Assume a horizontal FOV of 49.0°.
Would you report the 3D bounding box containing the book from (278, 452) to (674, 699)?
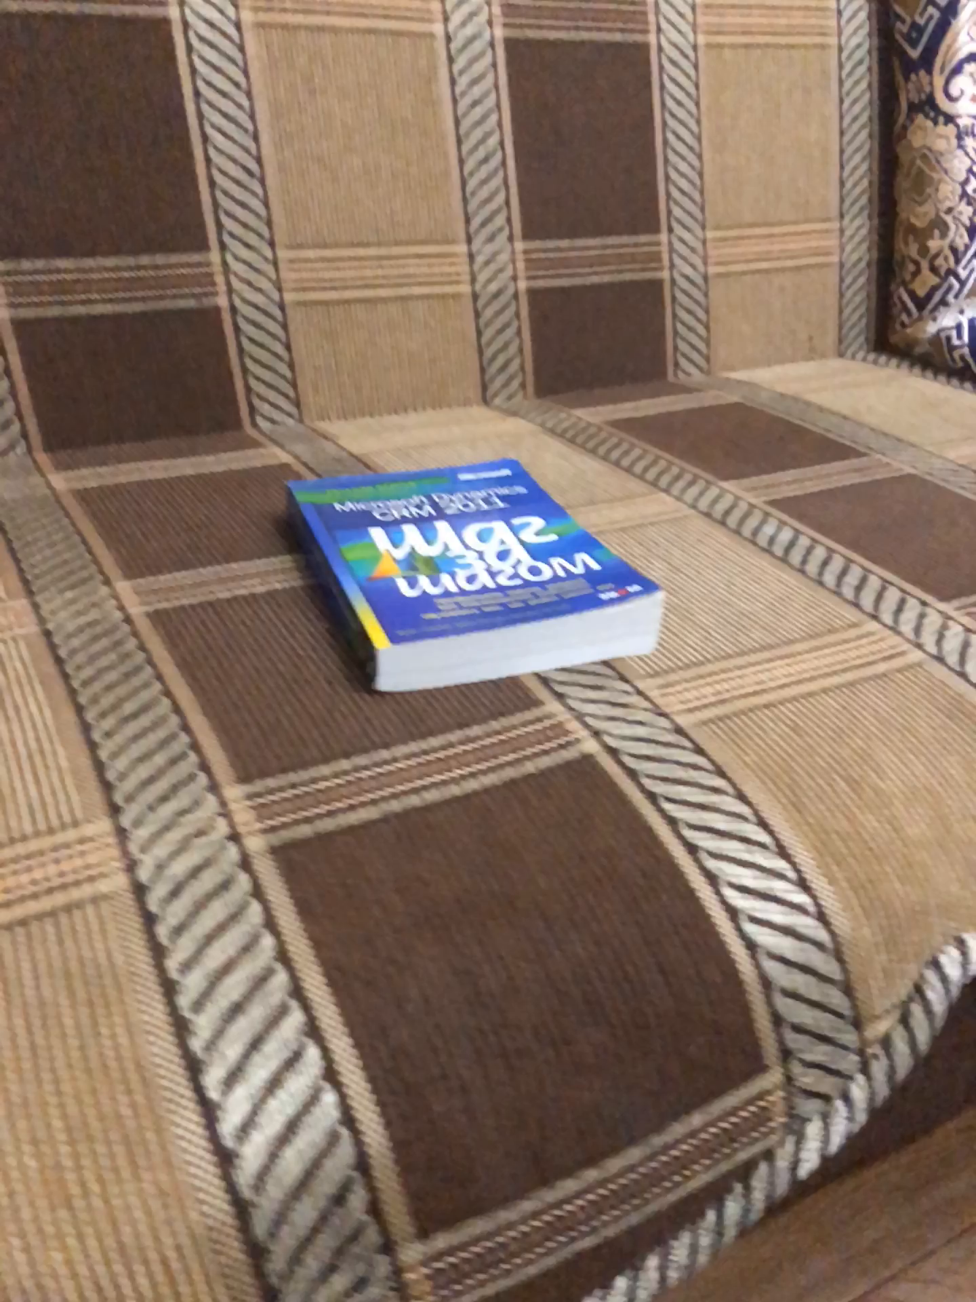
[{"bbox_3d":[-0.017,-0.052,0.580,0.151,0.030,0.201,-9,33,-20],"label":"book"}]
